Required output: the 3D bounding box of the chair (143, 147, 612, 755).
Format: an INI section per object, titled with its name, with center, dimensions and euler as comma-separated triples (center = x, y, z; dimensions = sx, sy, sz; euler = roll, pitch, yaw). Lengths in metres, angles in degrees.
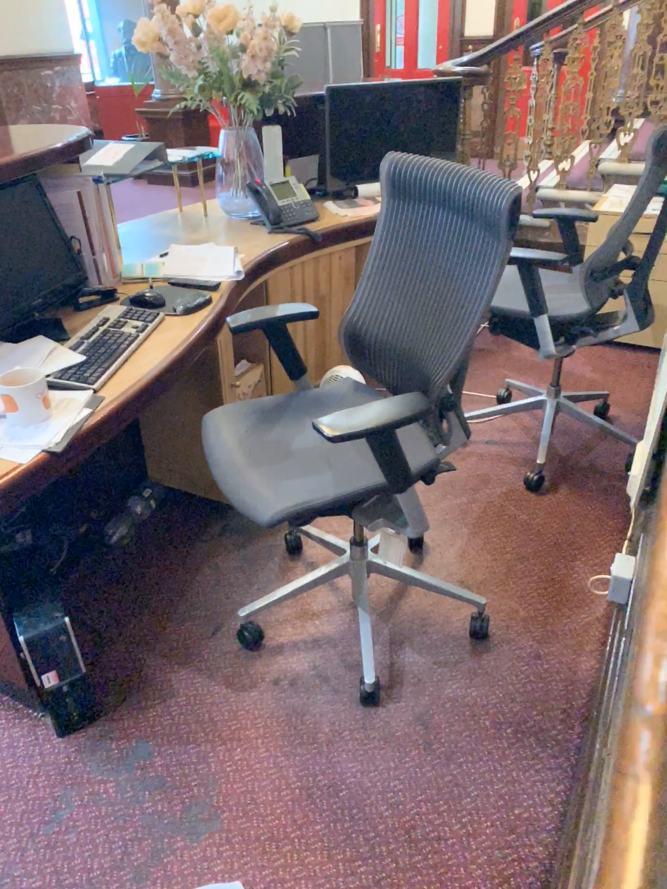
[chair]
center = 0.045, -0.035, 1.639
dimensions = 0.691, 1.129, 0.726
euler = -14, 32, -18
